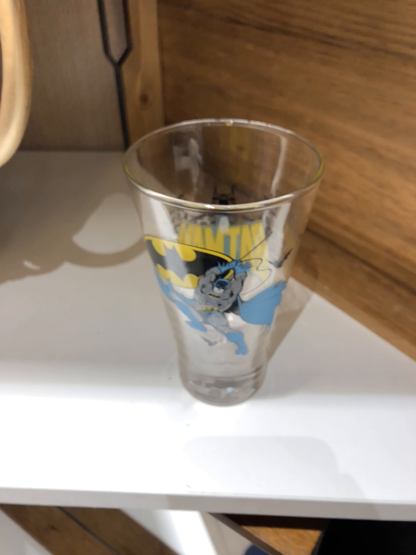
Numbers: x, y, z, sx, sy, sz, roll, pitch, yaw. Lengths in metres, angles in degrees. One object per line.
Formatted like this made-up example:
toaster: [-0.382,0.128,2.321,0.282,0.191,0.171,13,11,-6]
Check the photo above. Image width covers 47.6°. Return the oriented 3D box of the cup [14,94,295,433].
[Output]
cup: [-0.013,-0.006,0.225,0.090,0.129,0.081,7,40,10]
